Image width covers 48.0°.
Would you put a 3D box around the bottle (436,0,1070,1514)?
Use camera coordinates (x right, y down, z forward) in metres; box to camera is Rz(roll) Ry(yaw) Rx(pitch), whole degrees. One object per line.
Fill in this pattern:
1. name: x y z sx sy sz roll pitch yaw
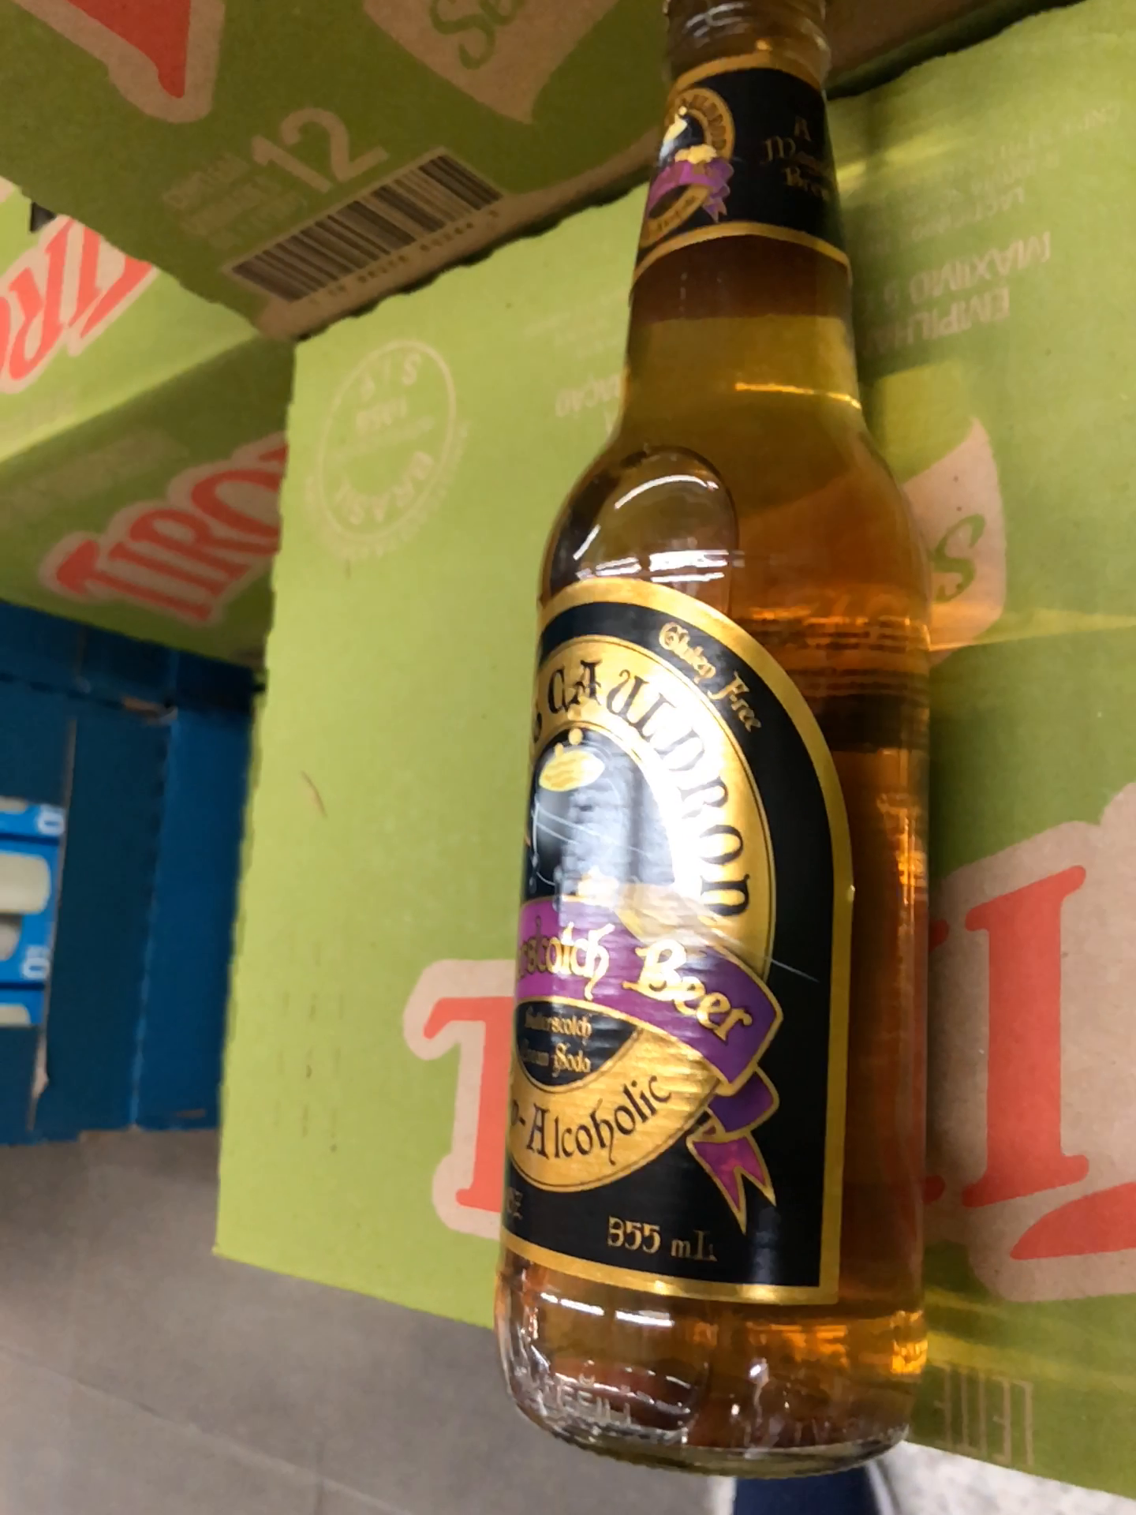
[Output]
1. bottle: 0.030 -0.033 0.197 0.070 0.050 0.260 -6 77 38
